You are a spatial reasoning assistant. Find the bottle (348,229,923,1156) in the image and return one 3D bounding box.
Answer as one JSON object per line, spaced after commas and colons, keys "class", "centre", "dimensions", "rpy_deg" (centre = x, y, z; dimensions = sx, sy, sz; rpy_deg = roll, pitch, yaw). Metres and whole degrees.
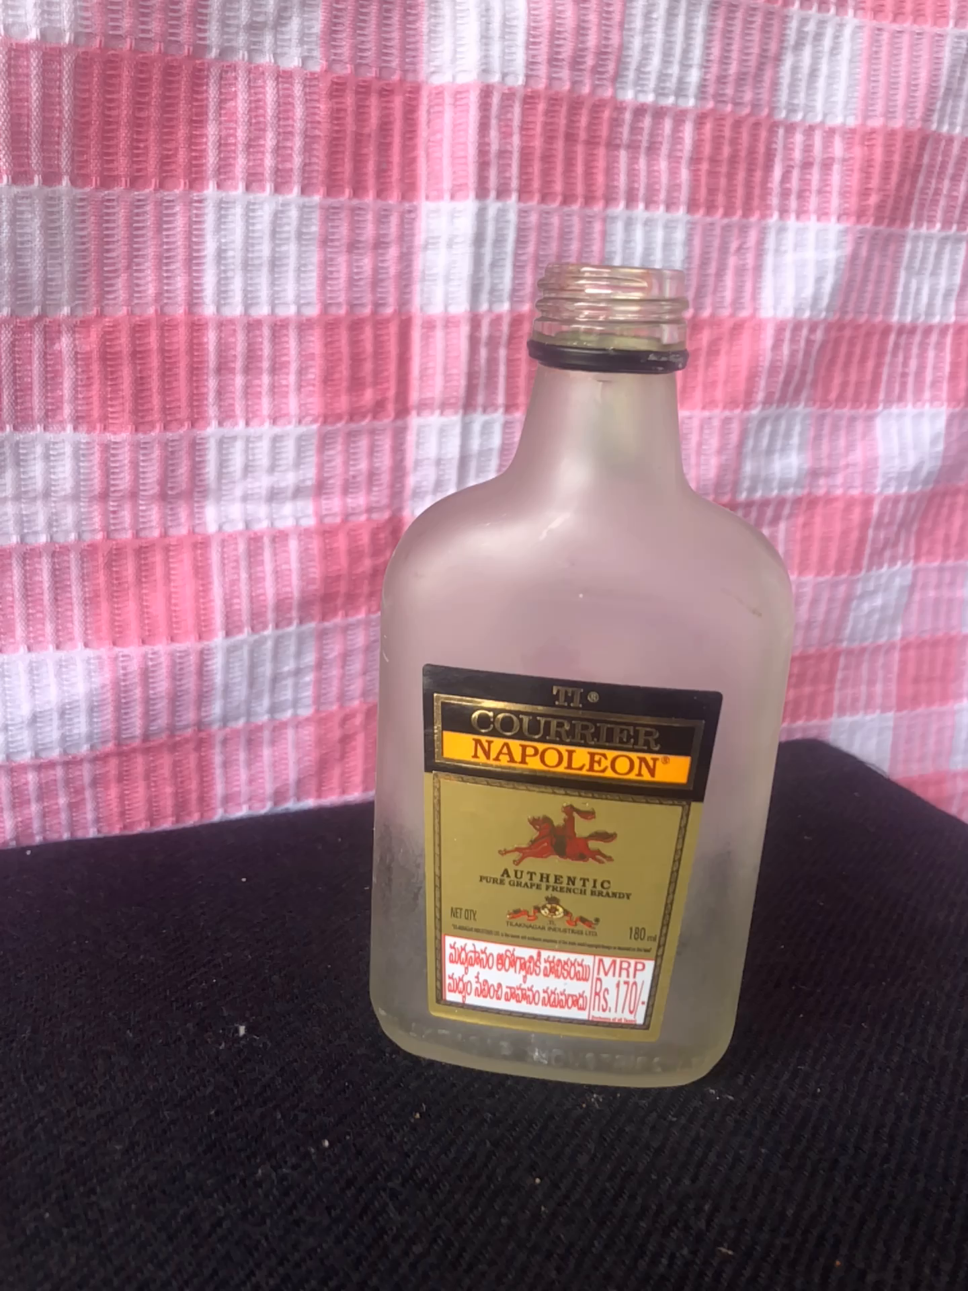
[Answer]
{"class": "bottle", "centre": [0.019, 0.011, 0.190], "dimensions": [0.070, 0.149, 0.040], "rpy_deg": [6, 19, 2]}
